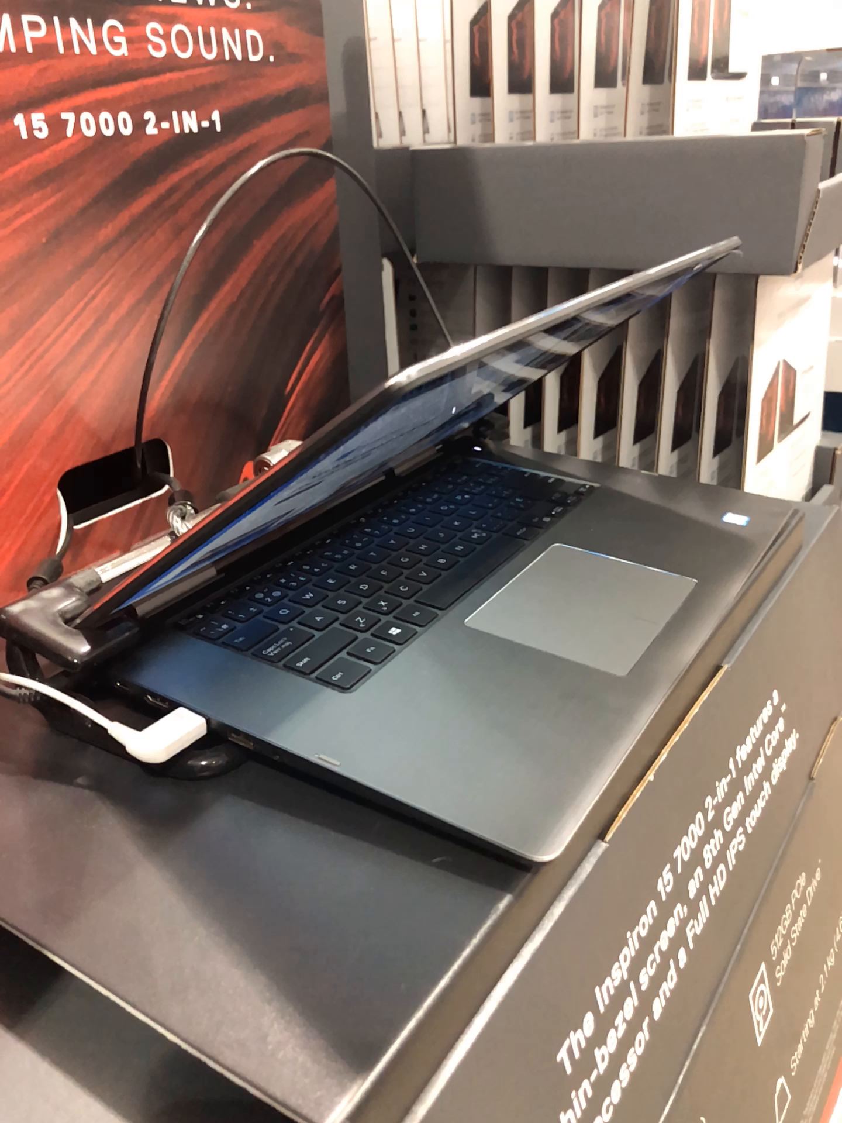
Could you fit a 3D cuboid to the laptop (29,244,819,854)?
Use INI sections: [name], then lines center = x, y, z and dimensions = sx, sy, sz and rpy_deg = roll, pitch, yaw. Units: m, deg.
[laptop]
center = 0.042, -0.058, 0.464
dimensions = 0.212, 0.137, 0.356
rpy_deg = 14, 30, 29
